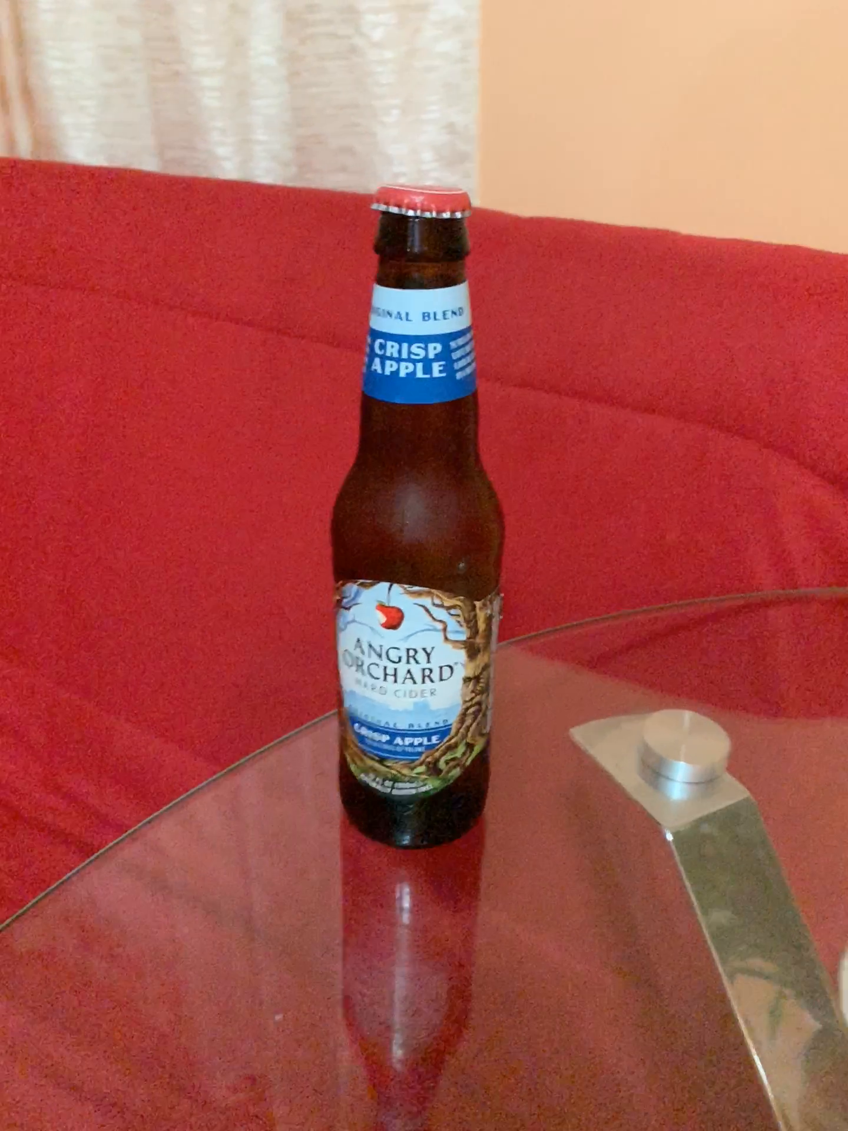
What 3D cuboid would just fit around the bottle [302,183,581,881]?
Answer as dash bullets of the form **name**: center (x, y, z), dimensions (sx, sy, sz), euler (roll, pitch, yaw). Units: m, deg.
- **bottle**: center (0.004, -0.007, 0.311), dimensions (0.070, 0.231, 0.070), euler (2, 26, -1)
